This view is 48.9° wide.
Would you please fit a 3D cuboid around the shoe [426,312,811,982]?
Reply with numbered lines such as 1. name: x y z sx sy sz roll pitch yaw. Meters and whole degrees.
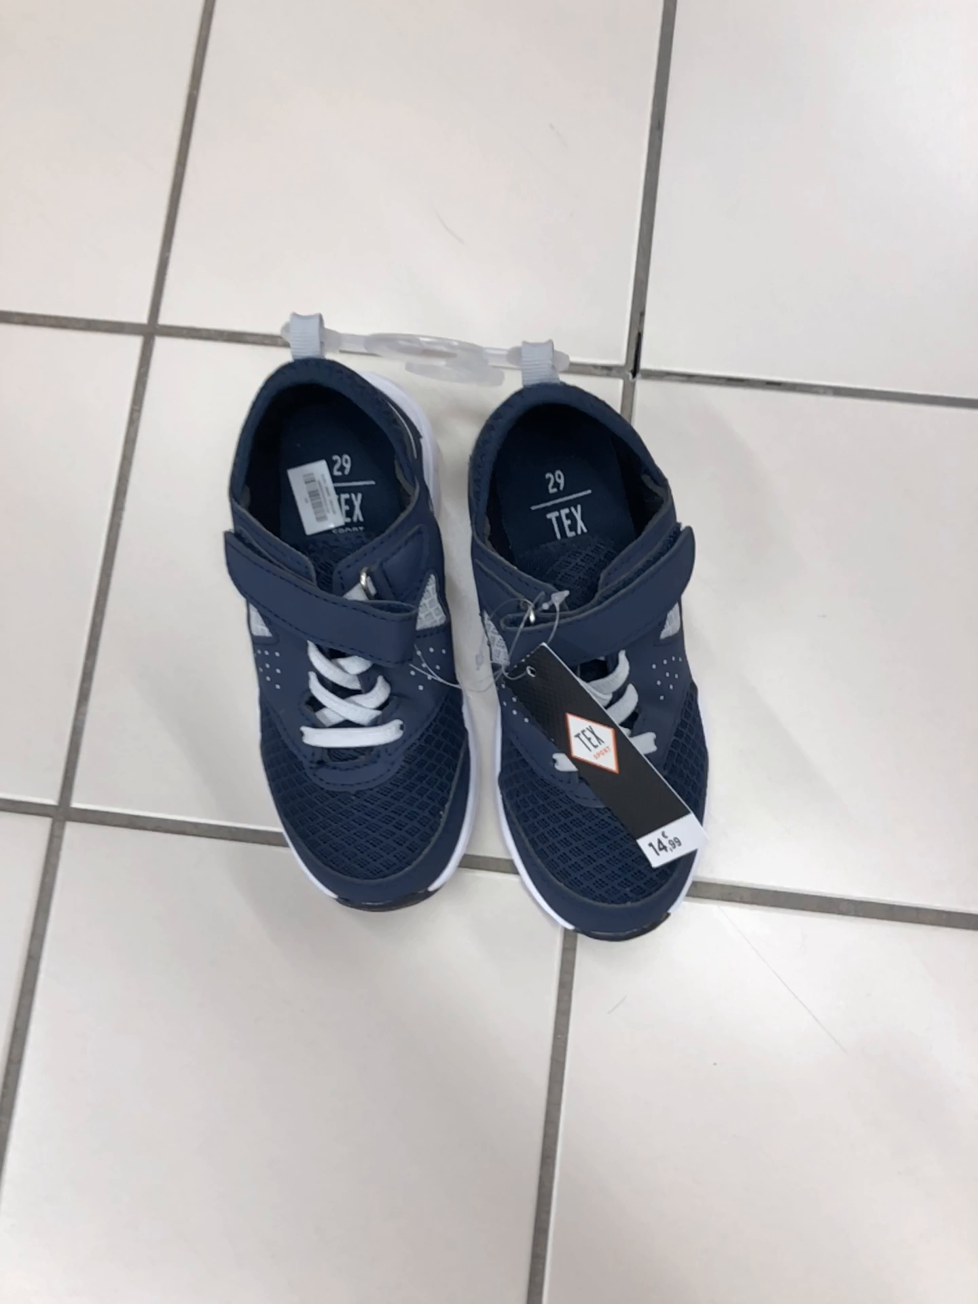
1. shoe: 0.039 0.000 0.371 0.081 0.081 0.198 -10 80 1

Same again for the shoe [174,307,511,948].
1. shoe: -0.048 -0.005 0.380 0.083 0.084 0.196 -8 80 1
